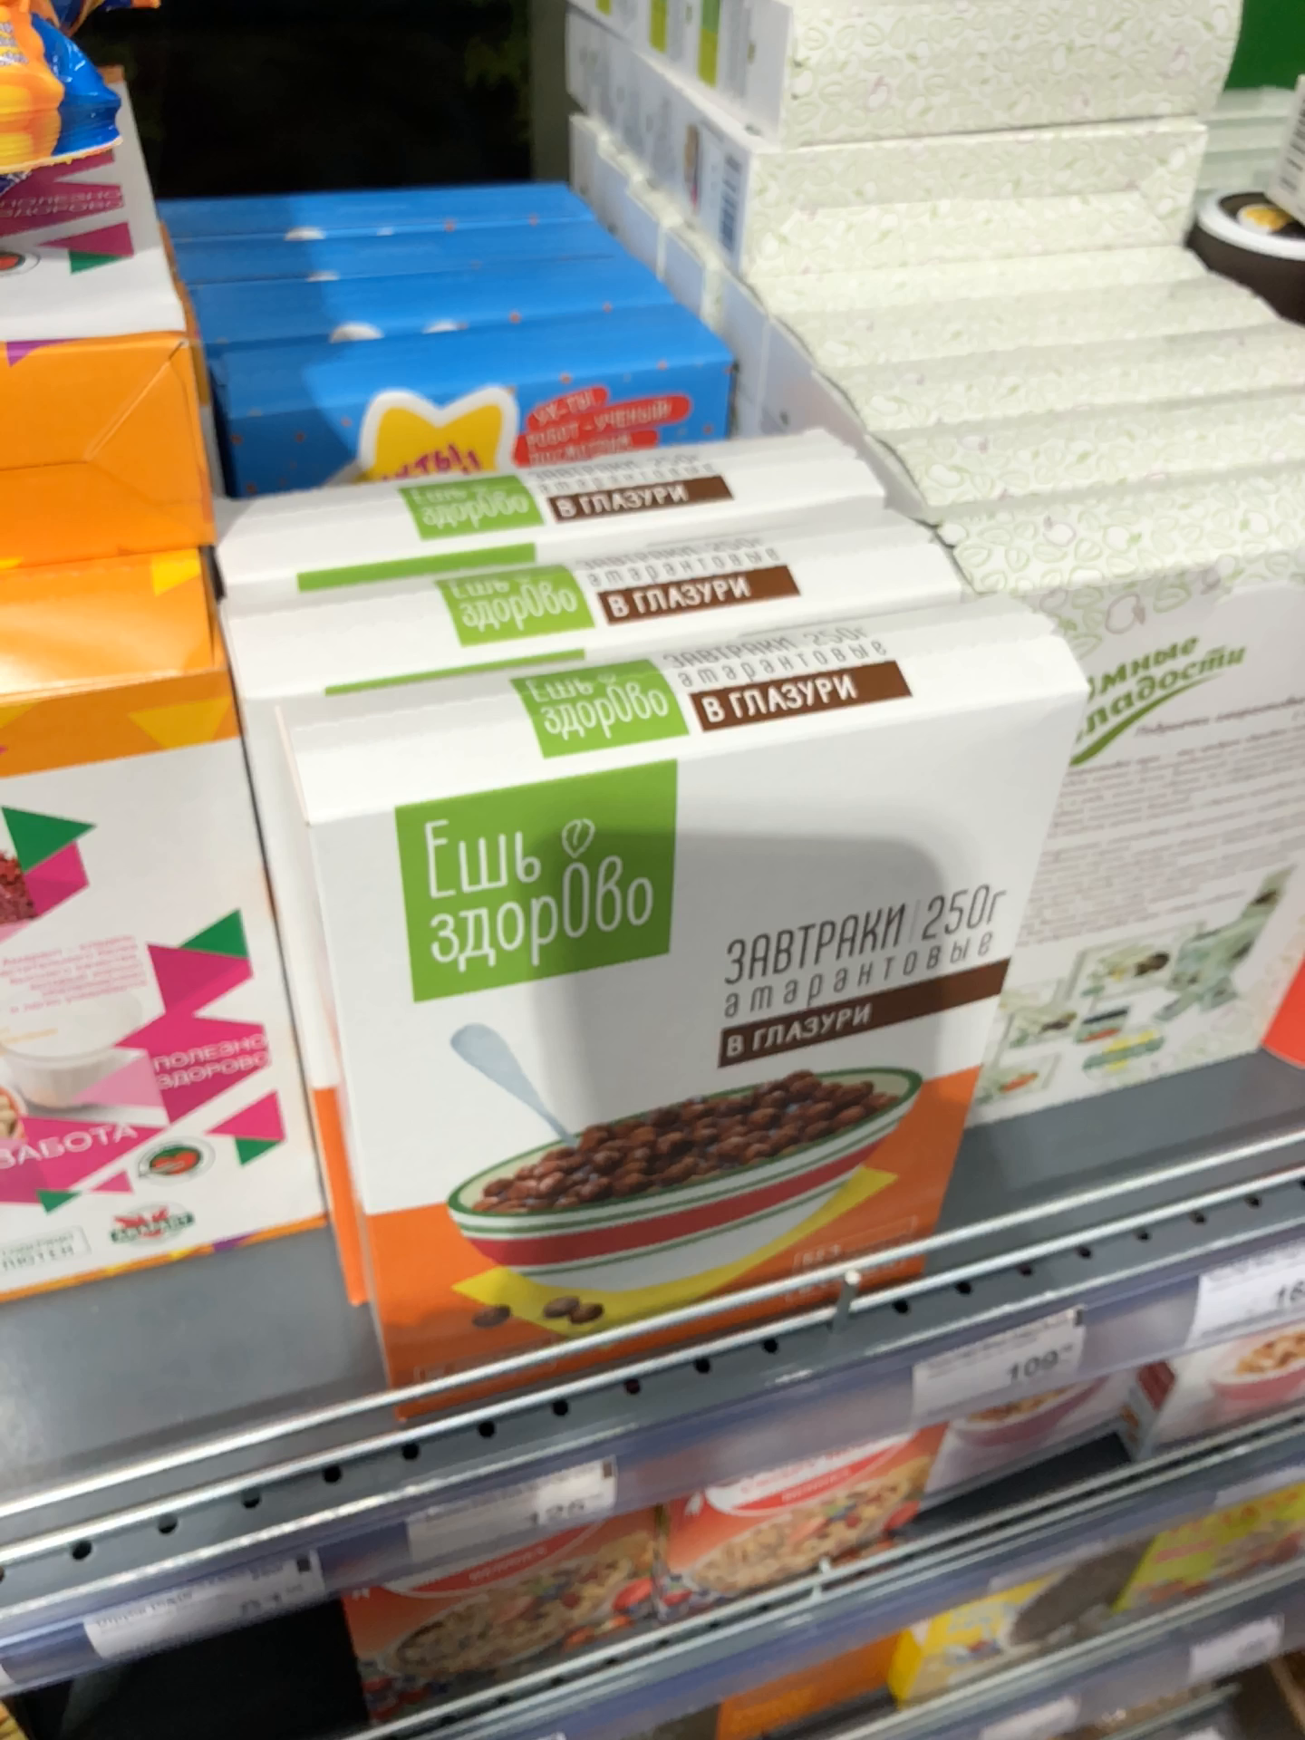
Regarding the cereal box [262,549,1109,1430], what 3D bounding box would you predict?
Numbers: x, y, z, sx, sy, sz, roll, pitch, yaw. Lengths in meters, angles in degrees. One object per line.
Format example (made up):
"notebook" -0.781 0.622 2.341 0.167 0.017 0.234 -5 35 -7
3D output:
"cereal box" 0.005 0.047 0.421 0.190 0.259 0.050 -12 44 -16
